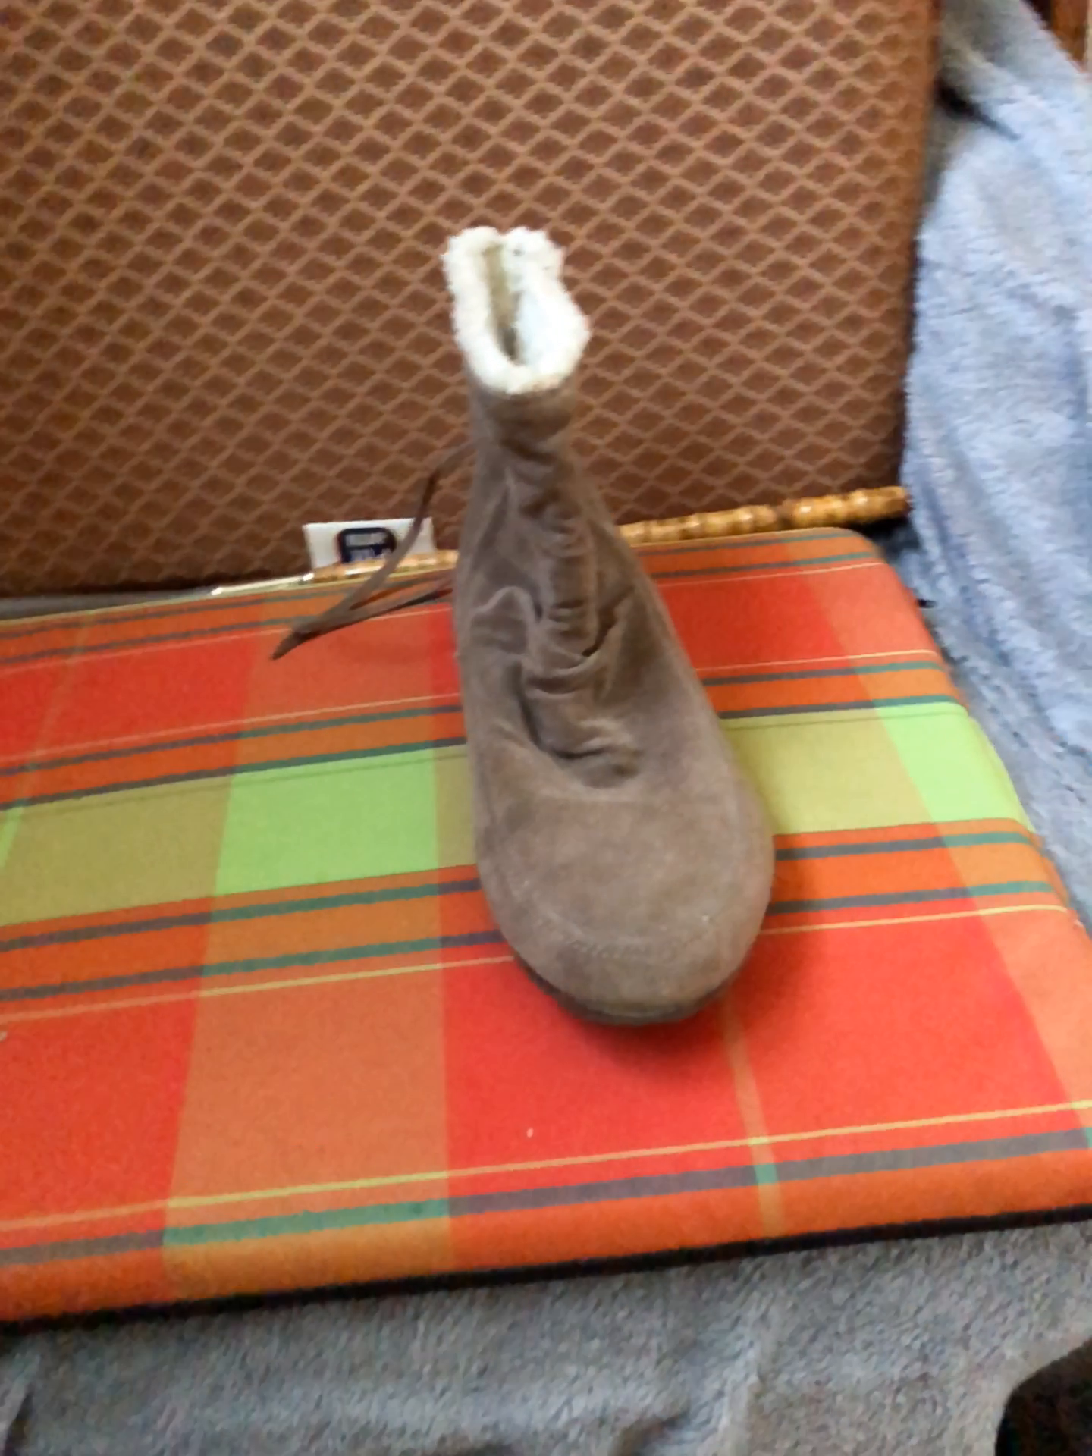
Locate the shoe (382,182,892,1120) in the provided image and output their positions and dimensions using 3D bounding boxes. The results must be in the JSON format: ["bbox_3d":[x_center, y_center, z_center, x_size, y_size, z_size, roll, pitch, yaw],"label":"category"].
[{"bbox_3d":[0.014,-0.042,0.383,0.100,0.159,0.261,-9,42,0],"label":"shoe"}]
